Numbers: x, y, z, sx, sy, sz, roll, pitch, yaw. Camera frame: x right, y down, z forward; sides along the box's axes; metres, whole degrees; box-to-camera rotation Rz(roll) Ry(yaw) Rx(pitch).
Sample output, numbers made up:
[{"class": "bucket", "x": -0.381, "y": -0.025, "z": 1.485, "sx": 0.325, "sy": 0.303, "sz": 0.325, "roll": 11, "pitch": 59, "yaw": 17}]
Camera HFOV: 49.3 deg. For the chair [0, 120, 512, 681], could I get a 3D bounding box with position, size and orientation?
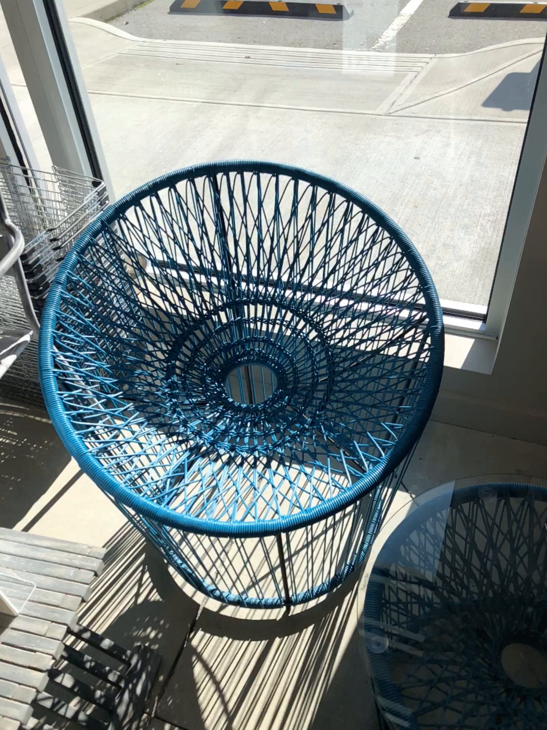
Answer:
[{"class": "chair", "x": -0.050, "y": 0.105, "z": 1.381, "sx": 0.720, "sy": 0.993, "sz": 0.665, "roll": -11, "pitch": 42, "yaw": -7}]
